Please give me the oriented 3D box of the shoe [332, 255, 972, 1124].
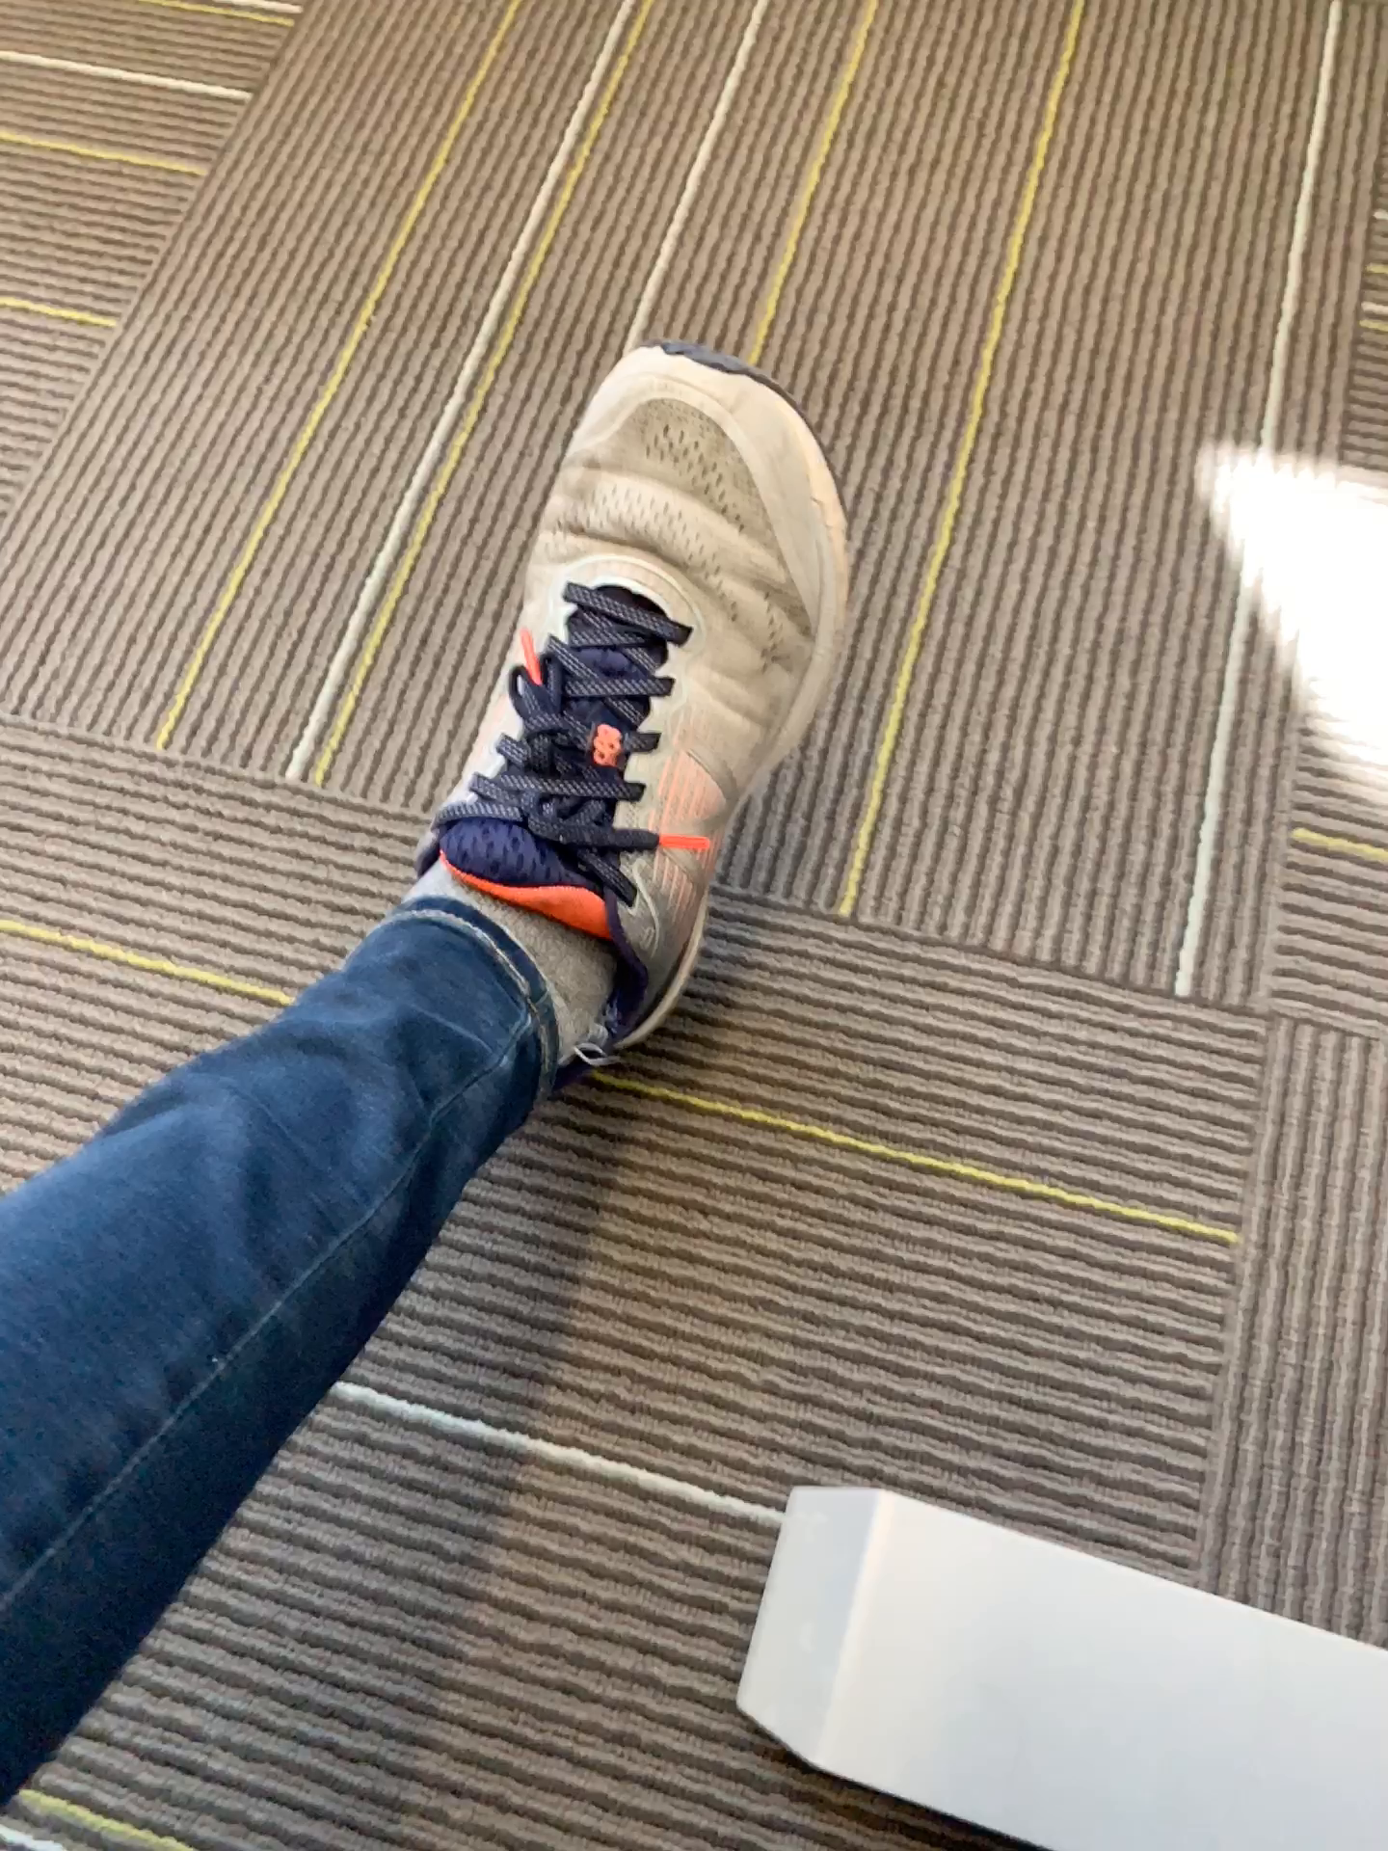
[{"bbox_3d":[-0.013,-0.076,0.481,0.120,0.110,0.230,23,108,12],"label":"shoe"}]
